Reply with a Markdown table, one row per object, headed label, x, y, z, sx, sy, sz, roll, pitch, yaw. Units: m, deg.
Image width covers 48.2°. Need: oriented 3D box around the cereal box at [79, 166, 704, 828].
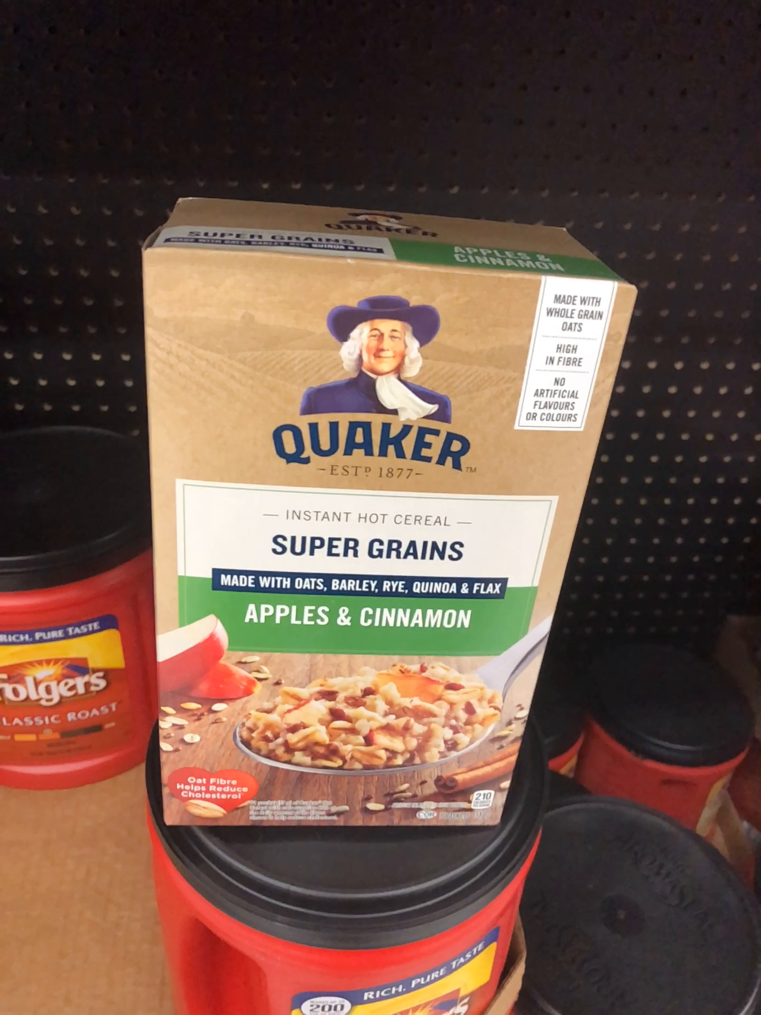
| label | x | y | z | sx | sy | sz | roll | pitch | yaw |
| --- | --- | --- | --- | --- | --- | --- | --- | --- | --- |
| cereal box | -0.004 | 0.009 | 0.267 | 0.140 | 0.199 | 0.060 | 2 | 31 | -5 |
